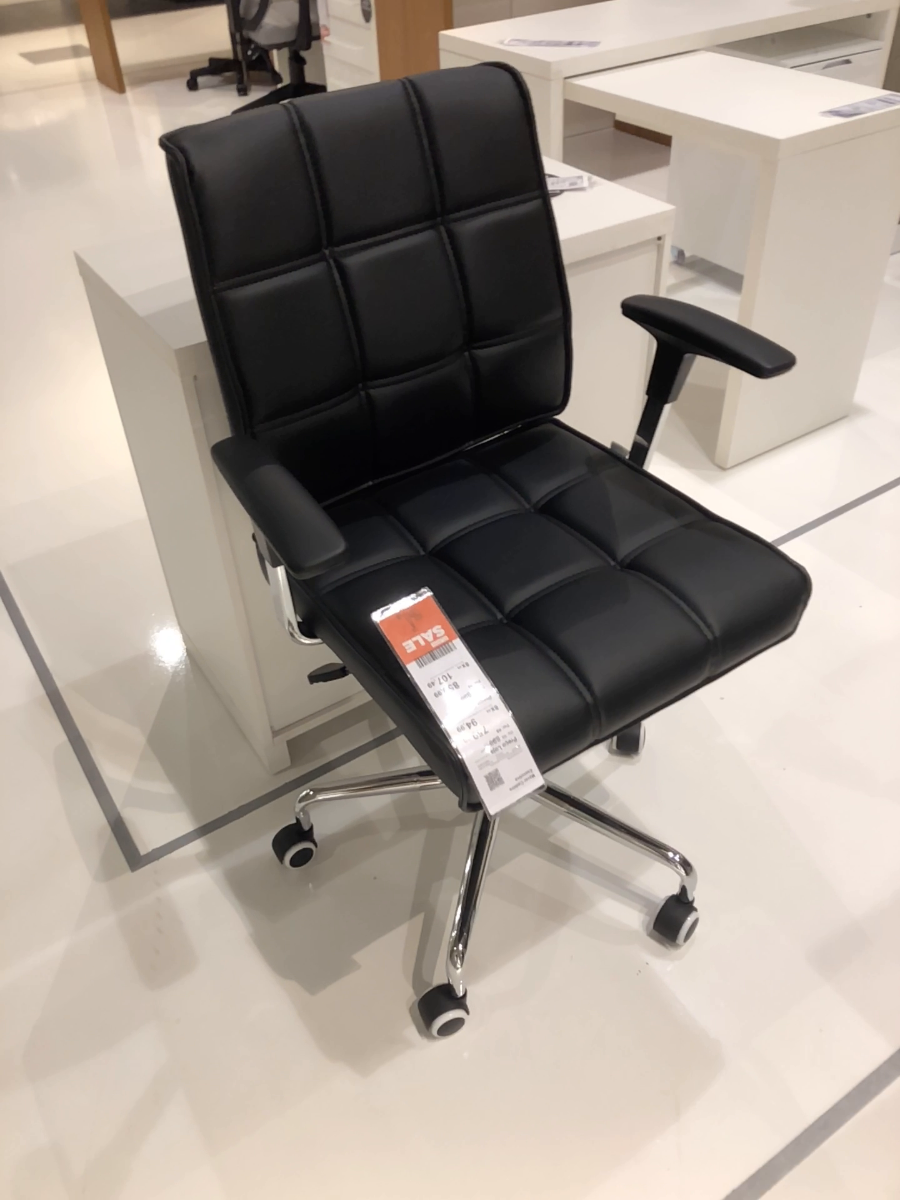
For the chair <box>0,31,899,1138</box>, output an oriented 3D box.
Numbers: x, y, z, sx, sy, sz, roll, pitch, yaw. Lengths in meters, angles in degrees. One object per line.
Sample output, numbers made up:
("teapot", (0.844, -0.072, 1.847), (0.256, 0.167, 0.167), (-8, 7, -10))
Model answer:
("chair", (0.030, -0.065, 1.181), (0.622, 0.912, 0.744), (-27, 45, -26))
